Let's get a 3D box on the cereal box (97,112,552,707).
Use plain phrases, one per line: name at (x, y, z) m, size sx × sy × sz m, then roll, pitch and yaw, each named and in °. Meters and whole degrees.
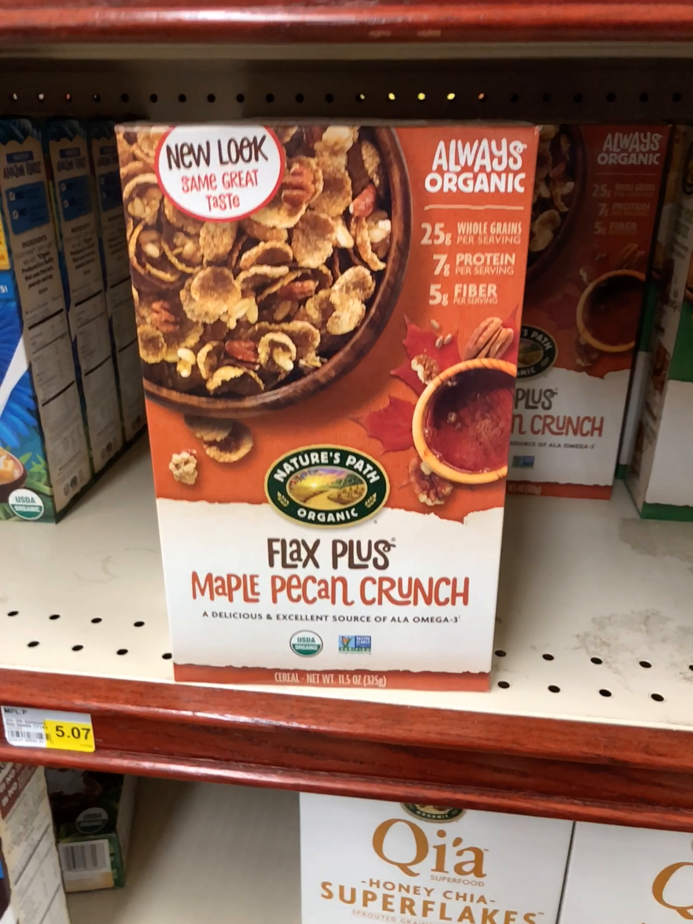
cereal box at (-0.007, -0.015, 0.349) m, size 0.160 × 0.259 × 0.060 m, roll 1°, pitch 23°, yaw 3°
